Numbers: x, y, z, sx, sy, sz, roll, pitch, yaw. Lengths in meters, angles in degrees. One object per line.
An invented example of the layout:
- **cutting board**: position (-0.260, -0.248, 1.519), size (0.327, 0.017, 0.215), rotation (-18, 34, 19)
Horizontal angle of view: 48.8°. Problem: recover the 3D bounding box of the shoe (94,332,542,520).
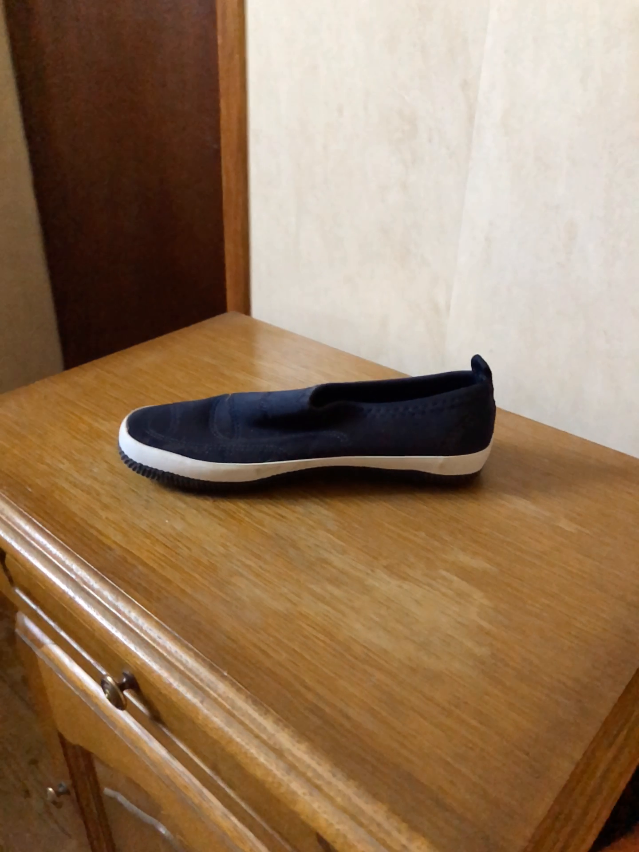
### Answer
- **shoe**: position (-0.001, -0.003, 0.472), size (0.260, 0.080, 0.101), rotation (1, 30, 0)
